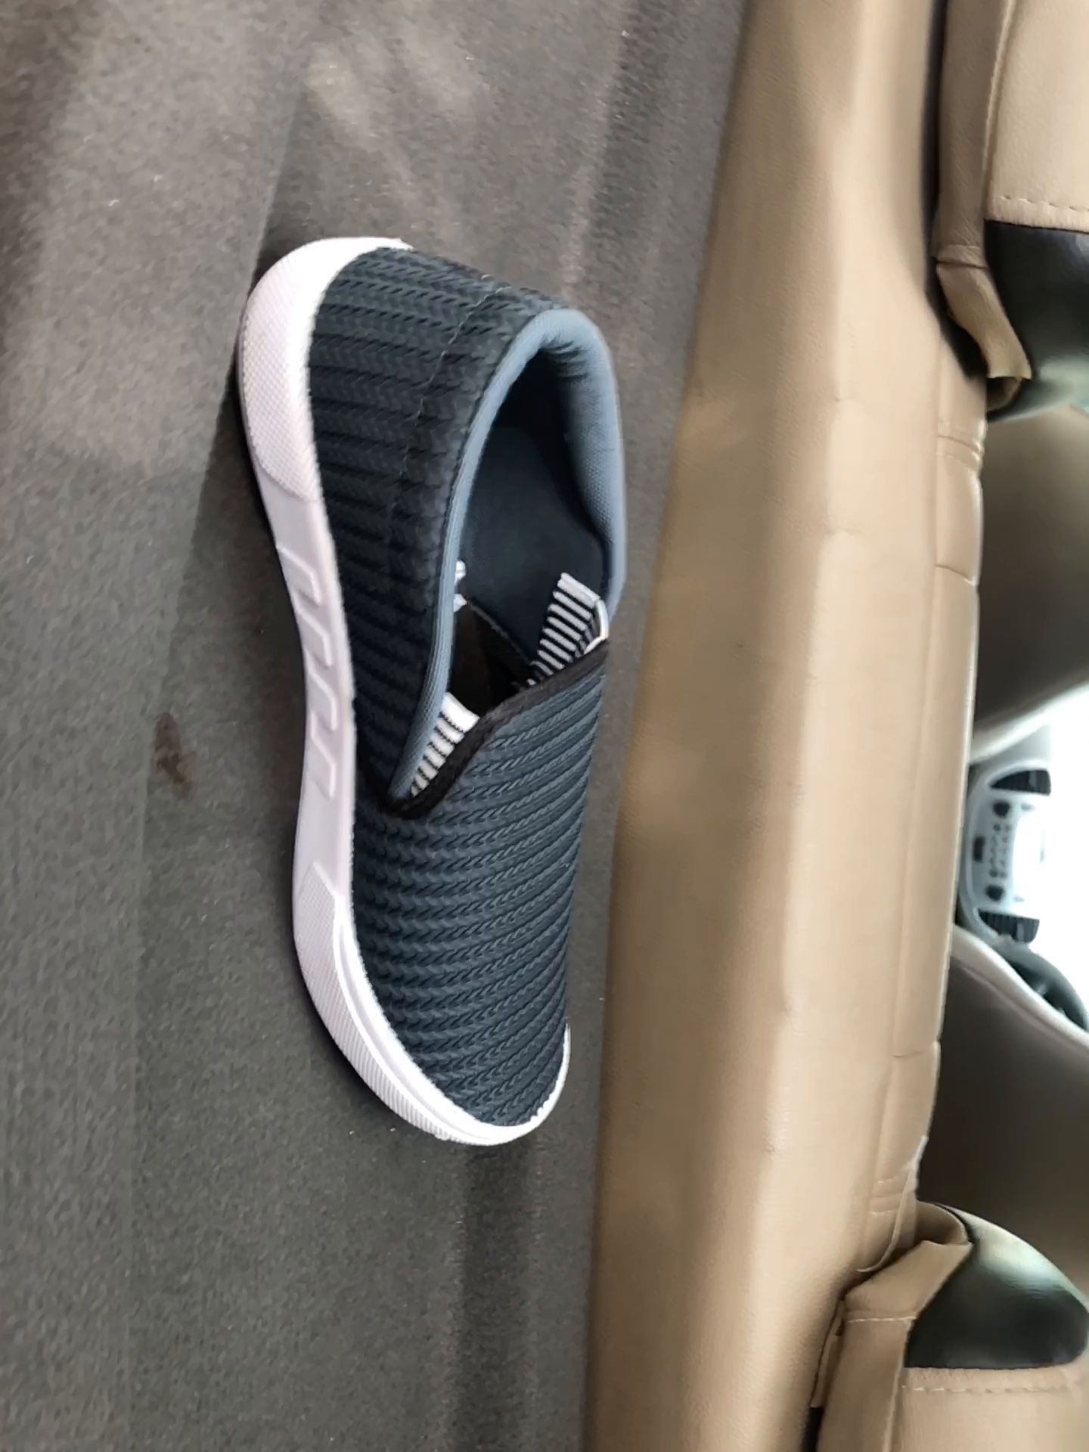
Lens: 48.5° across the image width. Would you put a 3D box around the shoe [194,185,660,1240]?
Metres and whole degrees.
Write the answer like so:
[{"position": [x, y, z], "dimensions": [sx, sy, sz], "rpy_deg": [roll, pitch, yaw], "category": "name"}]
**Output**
[{"position": [-0.026, -0.001, 0.366], "dimensions": [0.081, 0.089, 0.280], "rpy_deg": [-28, 118, -59], "category": "shoe"}]
